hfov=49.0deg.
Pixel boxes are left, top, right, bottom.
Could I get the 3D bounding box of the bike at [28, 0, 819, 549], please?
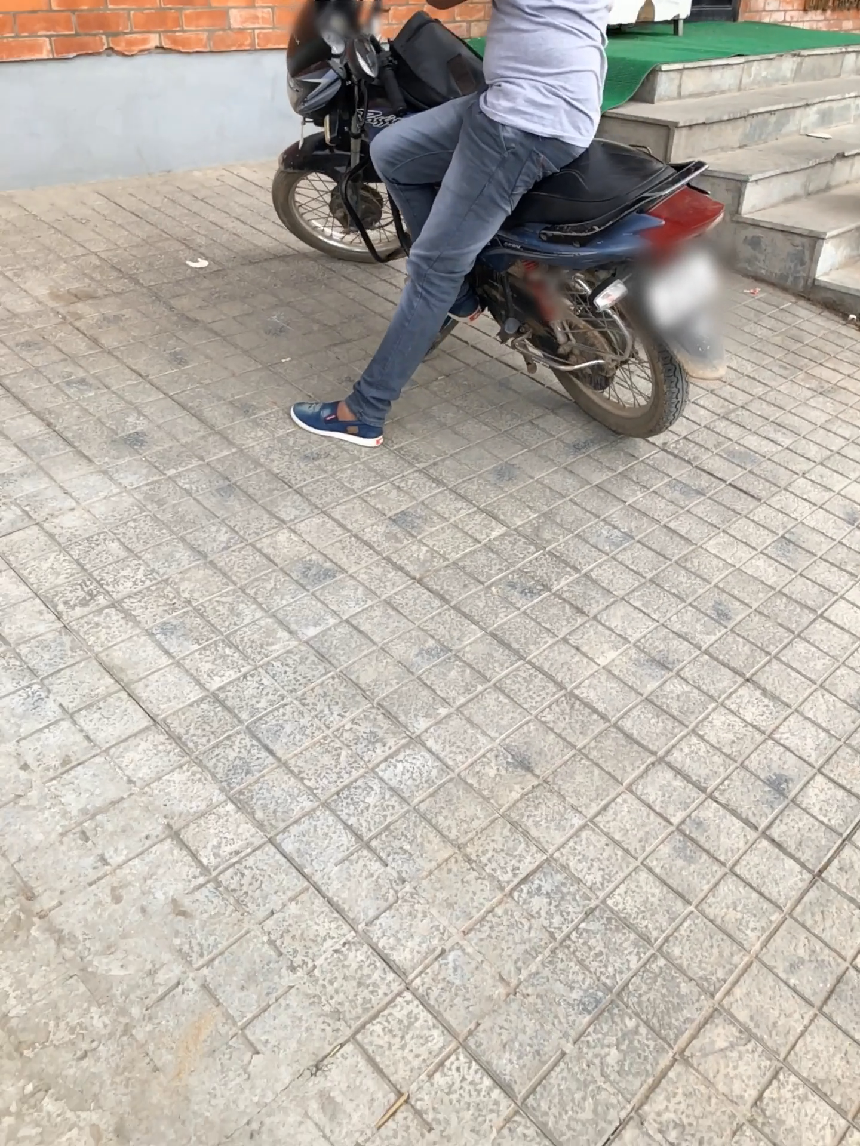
[{"bbox_3d":[-0.137,-1.206,2.679,0.816,1.344,1.823,-27,47,-36],"label":"bike"}]
